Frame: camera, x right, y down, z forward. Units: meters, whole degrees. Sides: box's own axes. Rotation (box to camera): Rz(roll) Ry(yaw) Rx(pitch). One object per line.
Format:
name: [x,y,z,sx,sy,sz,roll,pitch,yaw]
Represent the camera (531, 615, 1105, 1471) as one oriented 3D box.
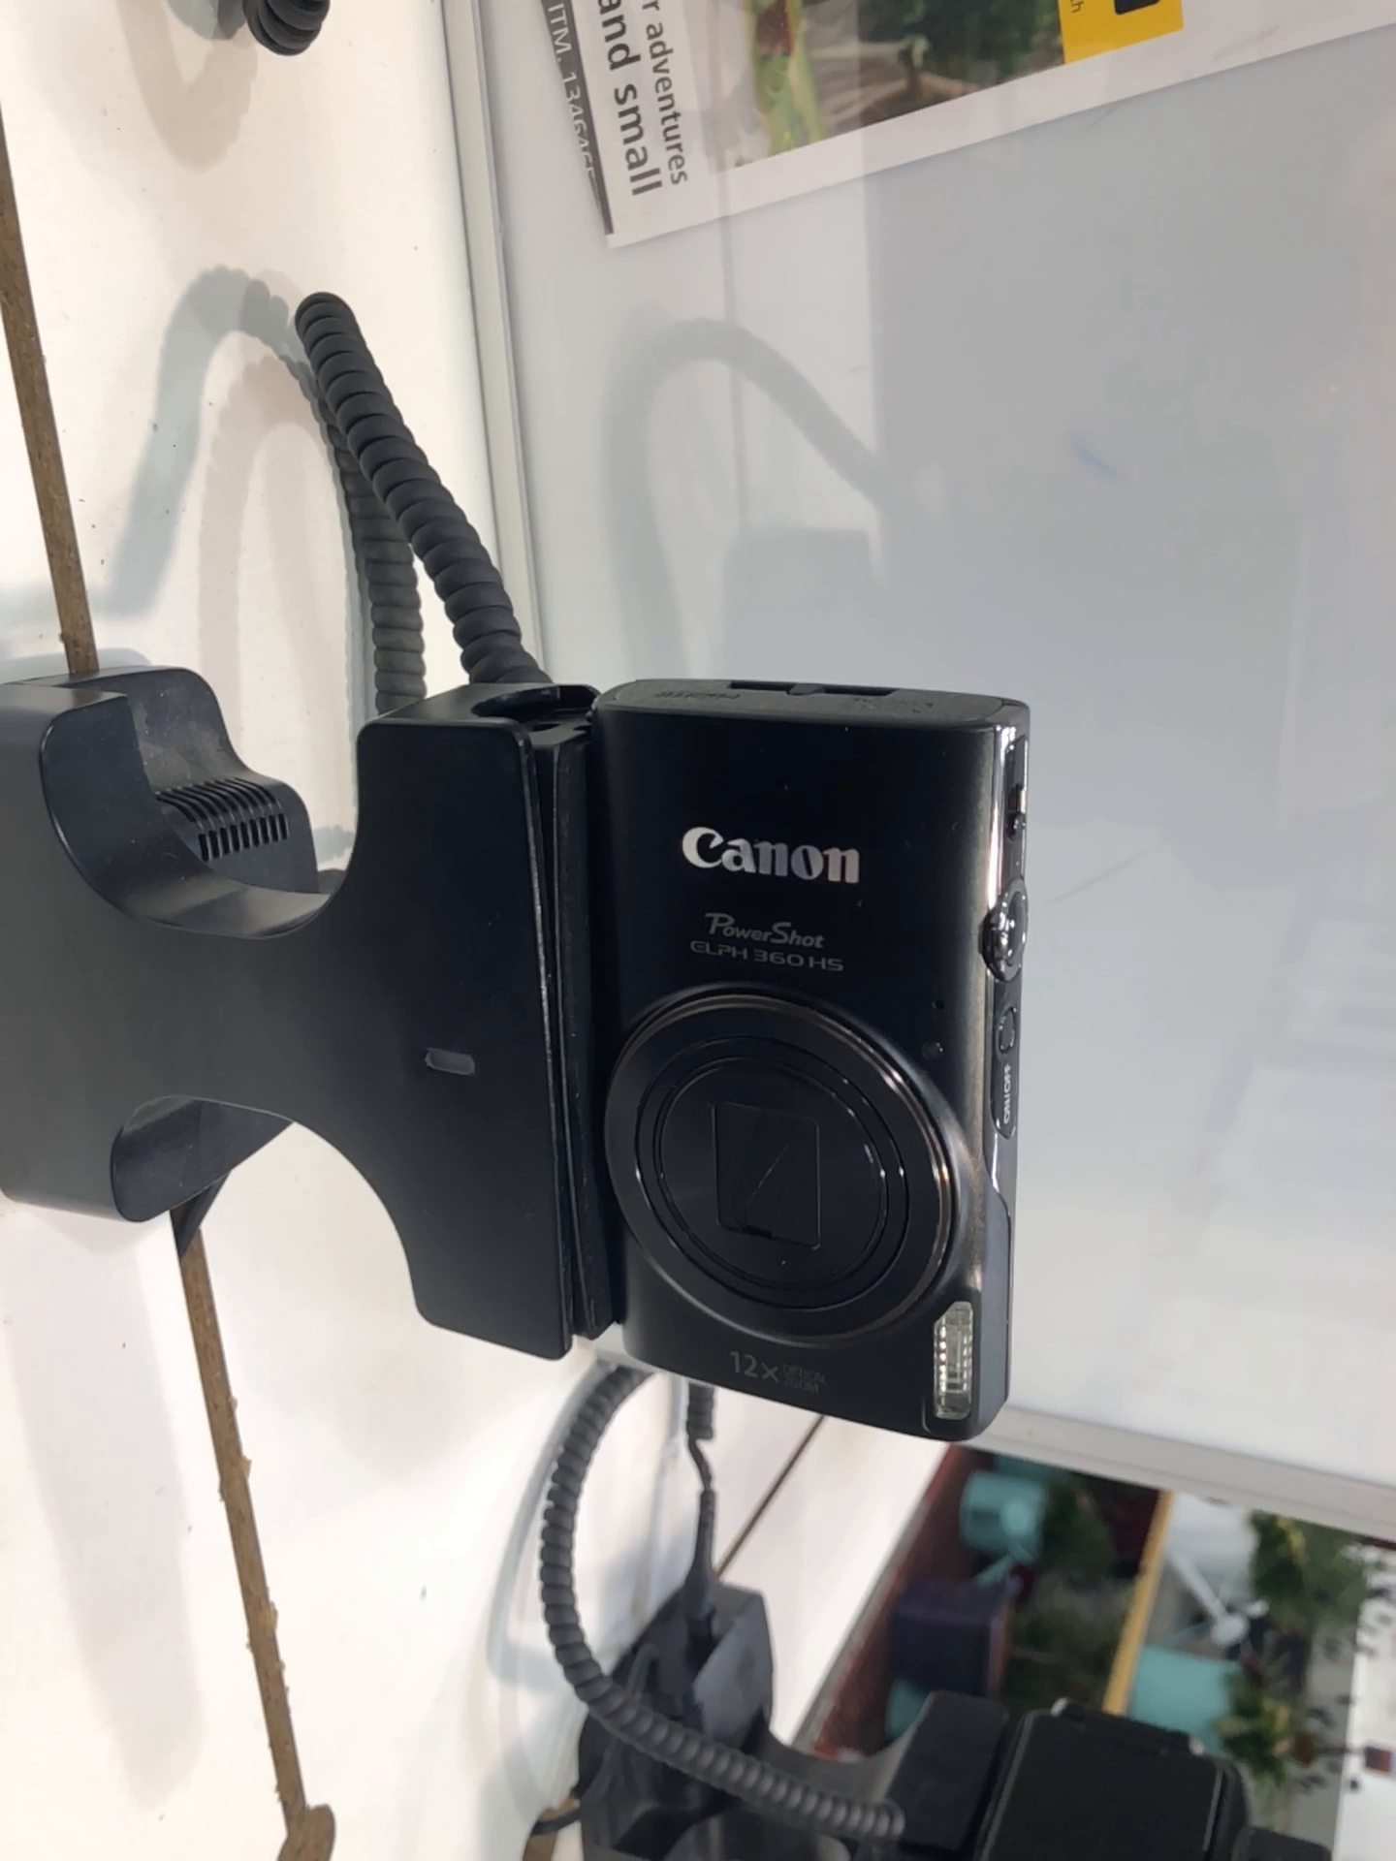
camera: [0.018,0.013,0.221,0.030,0.070,0.110,-30,121,-60]
